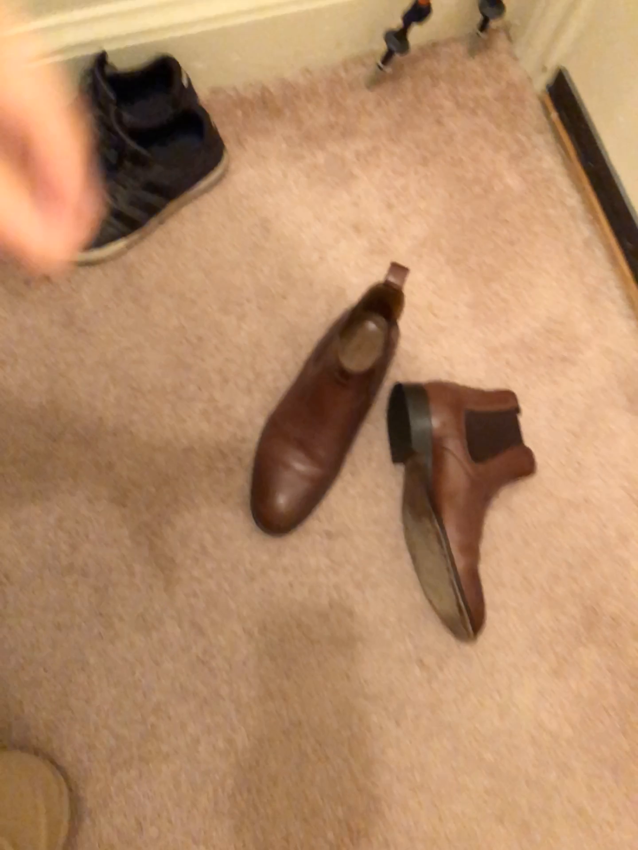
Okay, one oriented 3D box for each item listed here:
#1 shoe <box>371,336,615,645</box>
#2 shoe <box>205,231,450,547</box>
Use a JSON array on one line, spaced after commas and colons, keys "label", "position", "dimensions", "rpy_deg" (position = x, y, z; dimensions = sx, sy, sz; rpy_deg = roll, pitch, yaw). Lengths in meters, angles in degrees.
[{"label": "shoe", "position": [0.182, 0.072, 0.789], "dimensions": [0.169, 0.119, 0.296], "rpy_deg": [-10, 79, -9]}, {"label": "shoe", "position": [0.008, -0.031, 0.764], "dimensions": [0.109, 0.159, 0.297], "rpy_deg": [30, 76, 2]}]
